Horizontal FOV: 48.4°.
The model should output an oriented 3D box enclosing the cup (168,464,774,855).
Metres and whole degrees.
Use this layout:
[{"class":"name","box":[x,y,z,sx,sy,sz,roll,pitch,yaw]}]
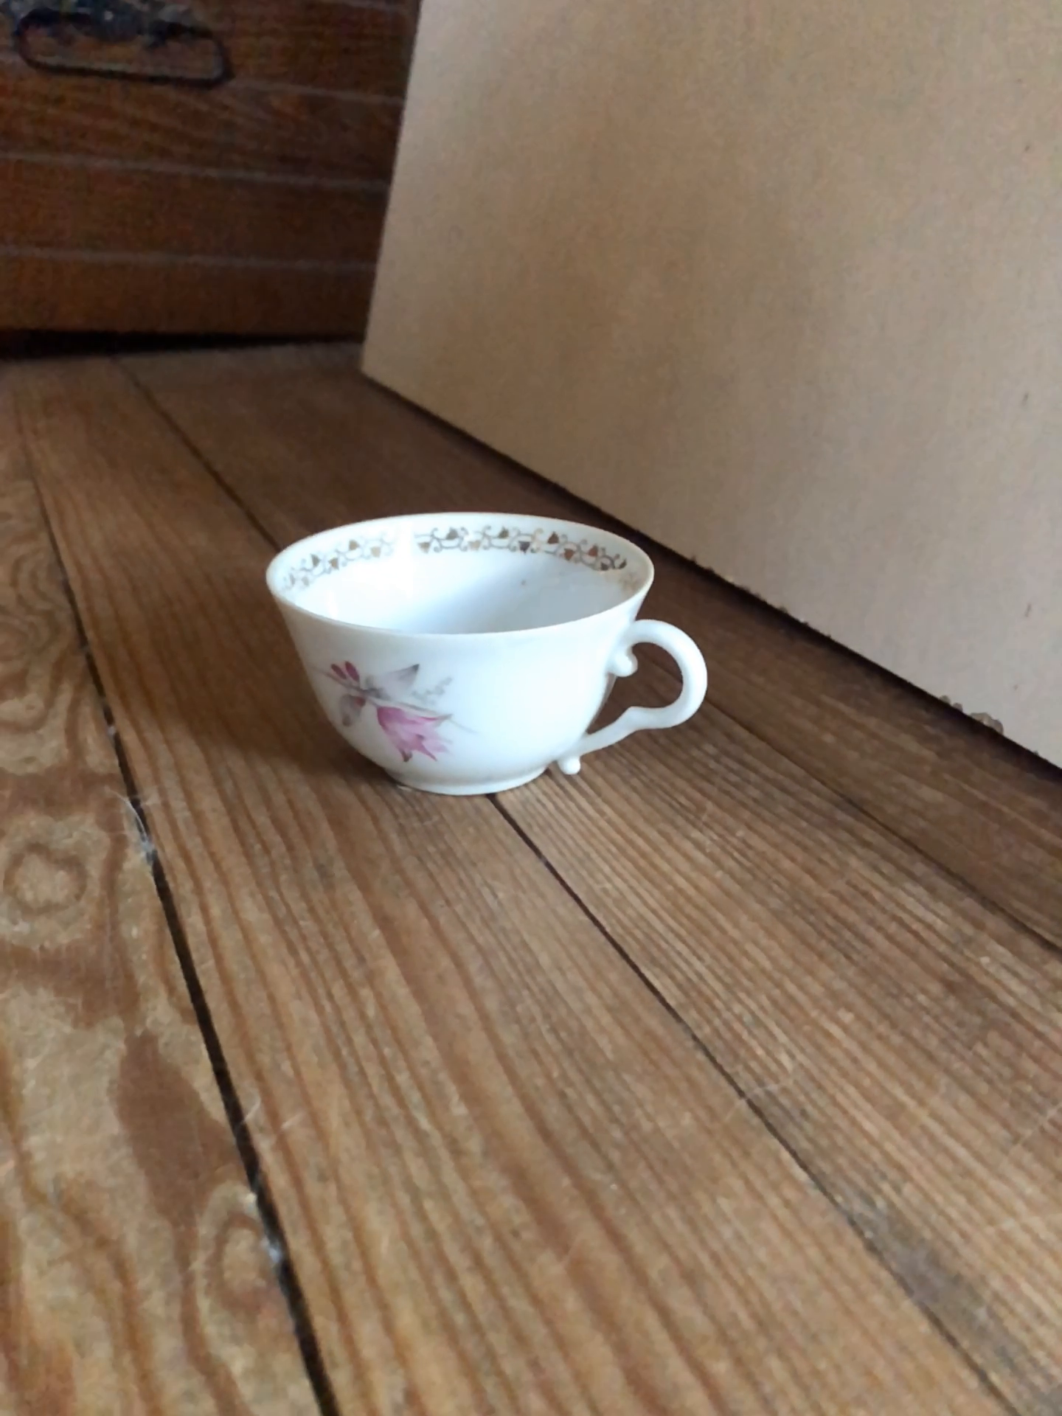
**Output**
[{"class":"cup","box":[-0.010,-0.018,0.258,0.100,0.040,0.081,15,30,27]}]
